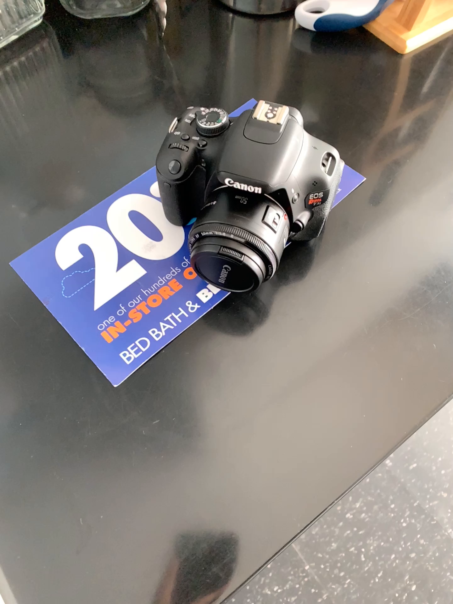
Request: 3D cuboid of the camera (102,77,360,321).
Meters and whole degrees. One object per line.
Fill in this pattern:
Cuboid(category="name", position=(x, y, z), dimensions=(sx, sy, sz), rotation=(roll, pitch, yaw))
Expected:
Cuboid(category="camera", position=(0.008, -0.077, 0.350), dimensions=(0.140, 0.086, 0.124), rotation=(17, 65, 9))
